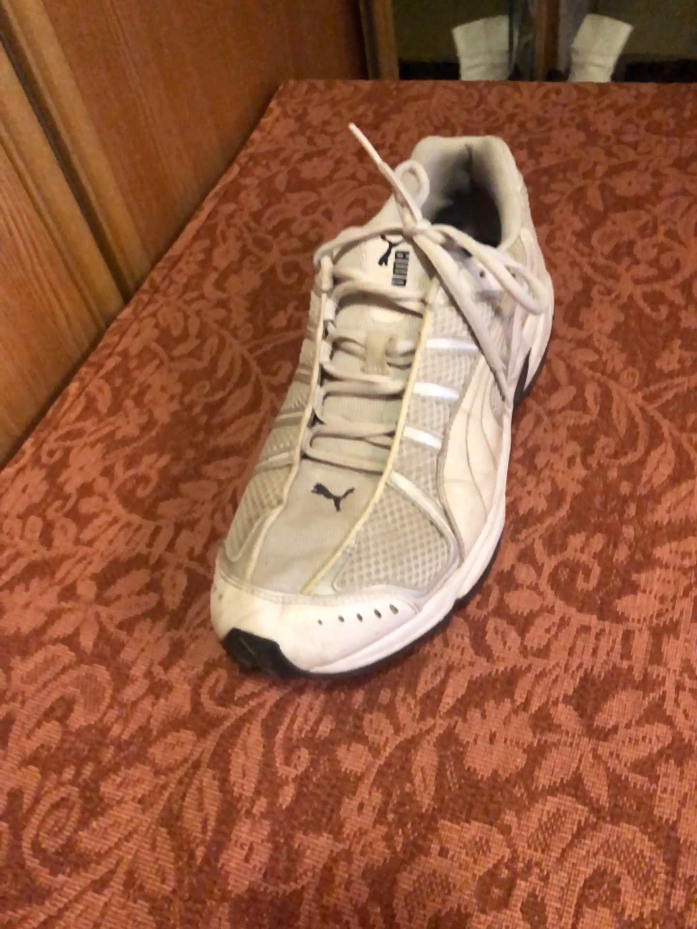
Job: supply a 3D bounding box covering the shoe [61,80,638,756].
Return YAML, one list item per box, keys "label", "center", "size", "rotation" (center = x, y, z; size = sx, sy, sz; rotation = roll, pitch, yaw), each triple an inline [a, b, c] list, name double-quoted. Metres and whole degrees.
- label: "shoe"
  center: [0.029, -0.049, 0.340]
  size: [0.120, 0.100, 0.291]
  rotation: [13, 54, 22]
